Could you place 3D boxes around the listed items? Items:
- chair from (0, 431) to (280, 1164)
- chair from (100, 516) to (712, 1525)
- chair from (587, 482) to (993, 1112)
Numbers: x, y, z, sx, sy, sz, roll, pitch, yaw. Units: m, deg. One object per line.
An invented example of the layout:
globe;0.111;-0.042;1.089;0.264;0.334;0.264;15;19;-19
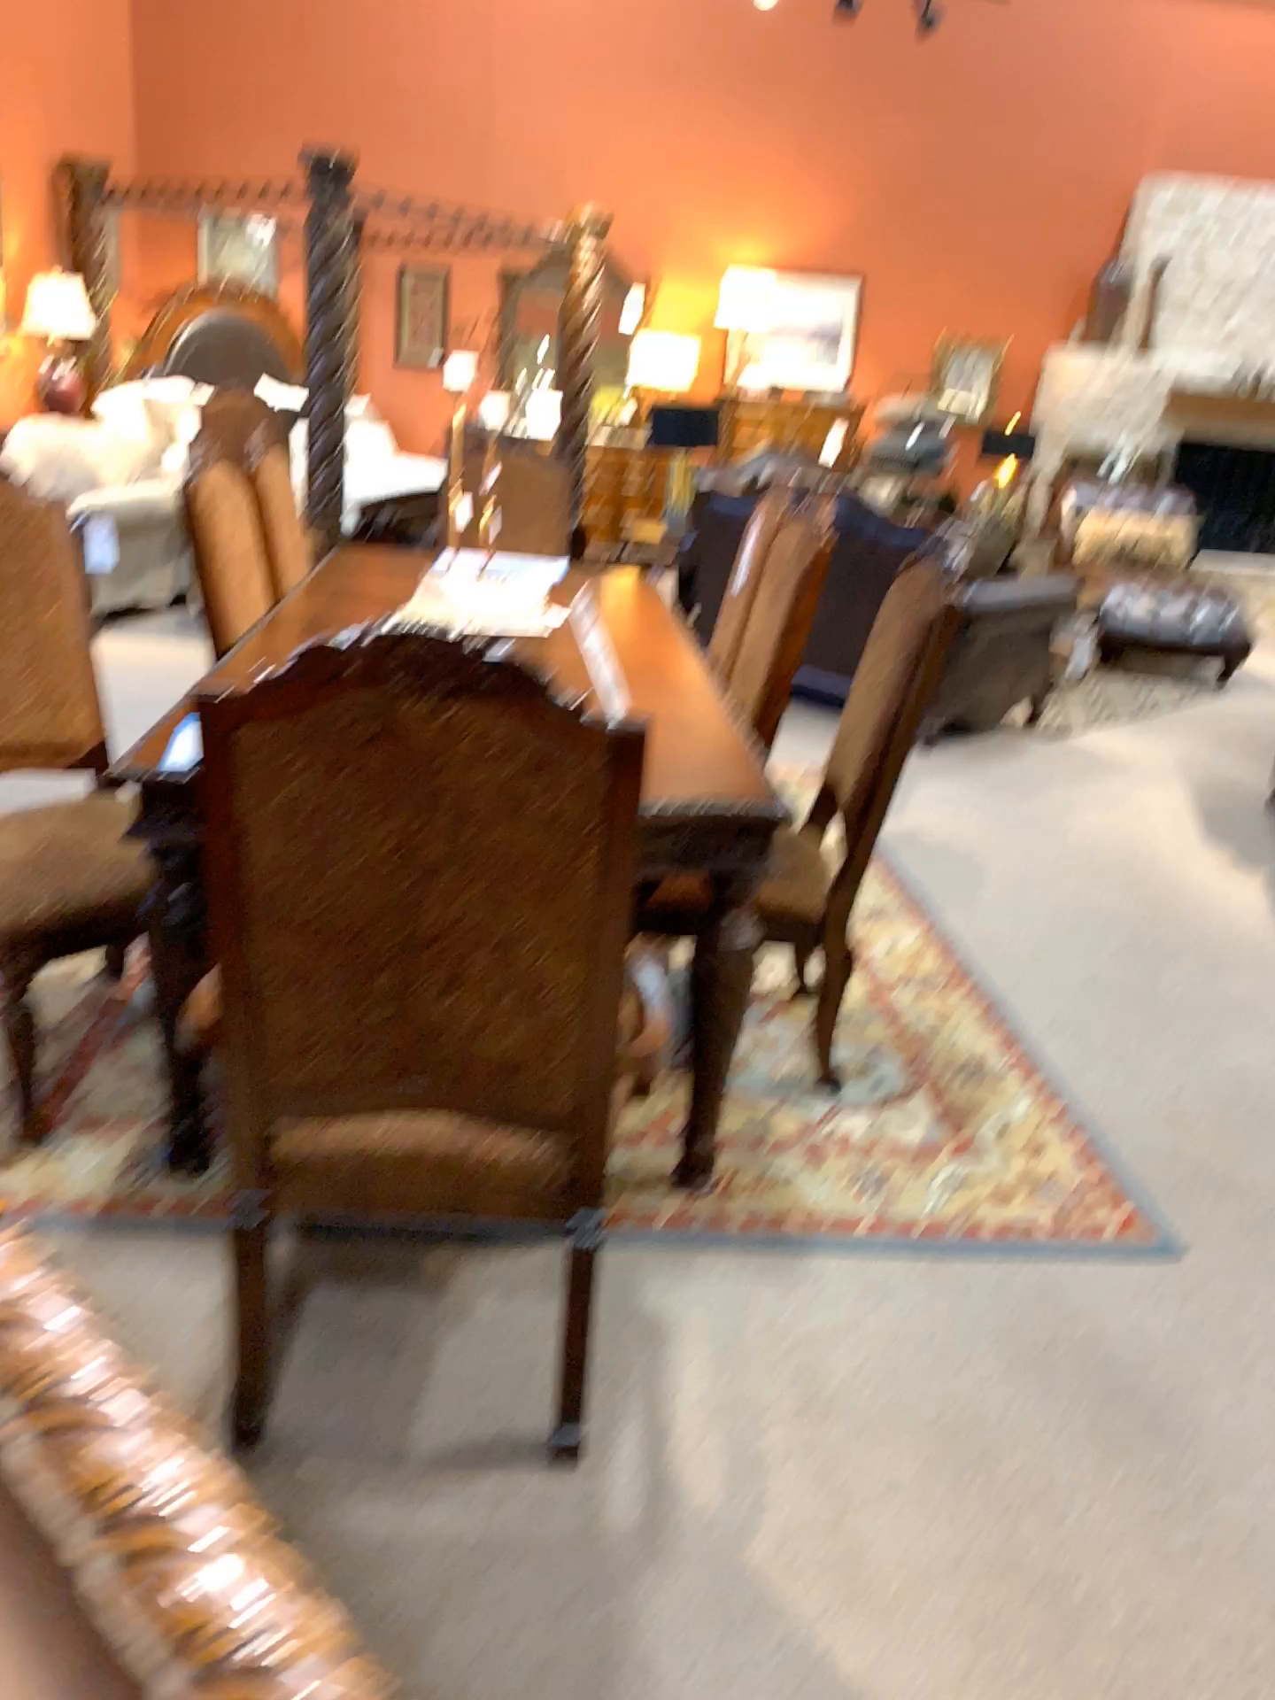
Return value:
chair;-1.156;-0.157;2.532;0.670;1.184;0.604;20;24;35
chair;-0.277;0.186;1.749;0.583;1.124;0.672;4;20;-3
chair;0.252;-0.125;2.686;0.619;1.134;0.565;4;20;-3
